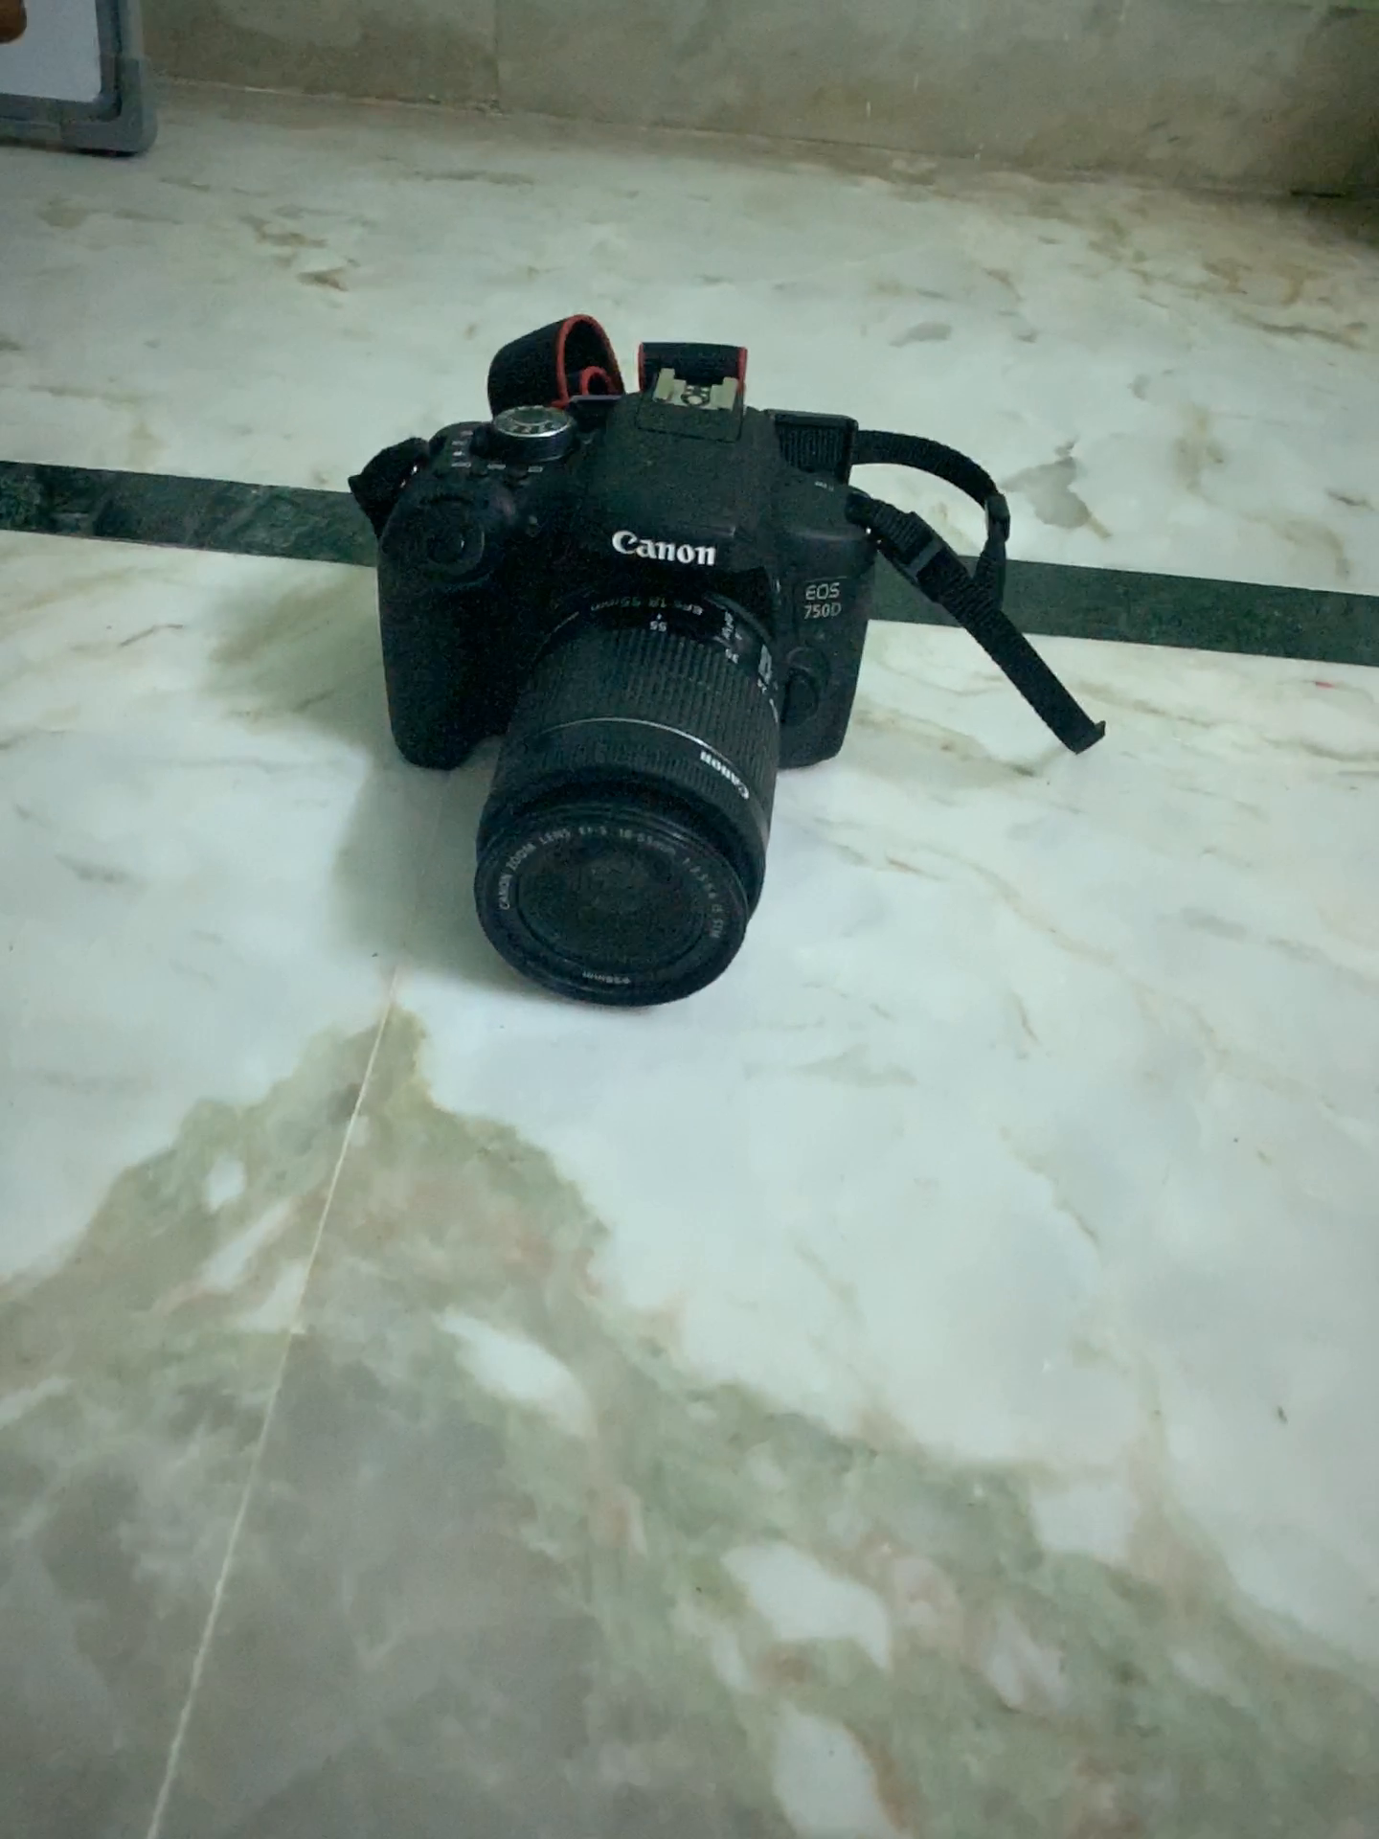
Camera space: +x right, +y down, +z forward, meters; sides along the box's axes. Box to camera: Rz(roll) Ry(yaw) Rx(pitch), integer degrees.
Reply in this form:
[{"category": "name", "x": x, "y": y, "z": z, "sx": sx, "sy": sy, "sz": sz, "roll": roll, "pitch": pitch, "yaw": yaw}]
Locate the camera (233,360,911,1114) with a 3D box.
[{"category": "camera", "x": -0.020, "y": -0.052, "z": 0.357, "sx": 0.128, "sy": 0.100, "sz": 0.161, "roll": 7, "pitch": 43, "yaw": 0}]
